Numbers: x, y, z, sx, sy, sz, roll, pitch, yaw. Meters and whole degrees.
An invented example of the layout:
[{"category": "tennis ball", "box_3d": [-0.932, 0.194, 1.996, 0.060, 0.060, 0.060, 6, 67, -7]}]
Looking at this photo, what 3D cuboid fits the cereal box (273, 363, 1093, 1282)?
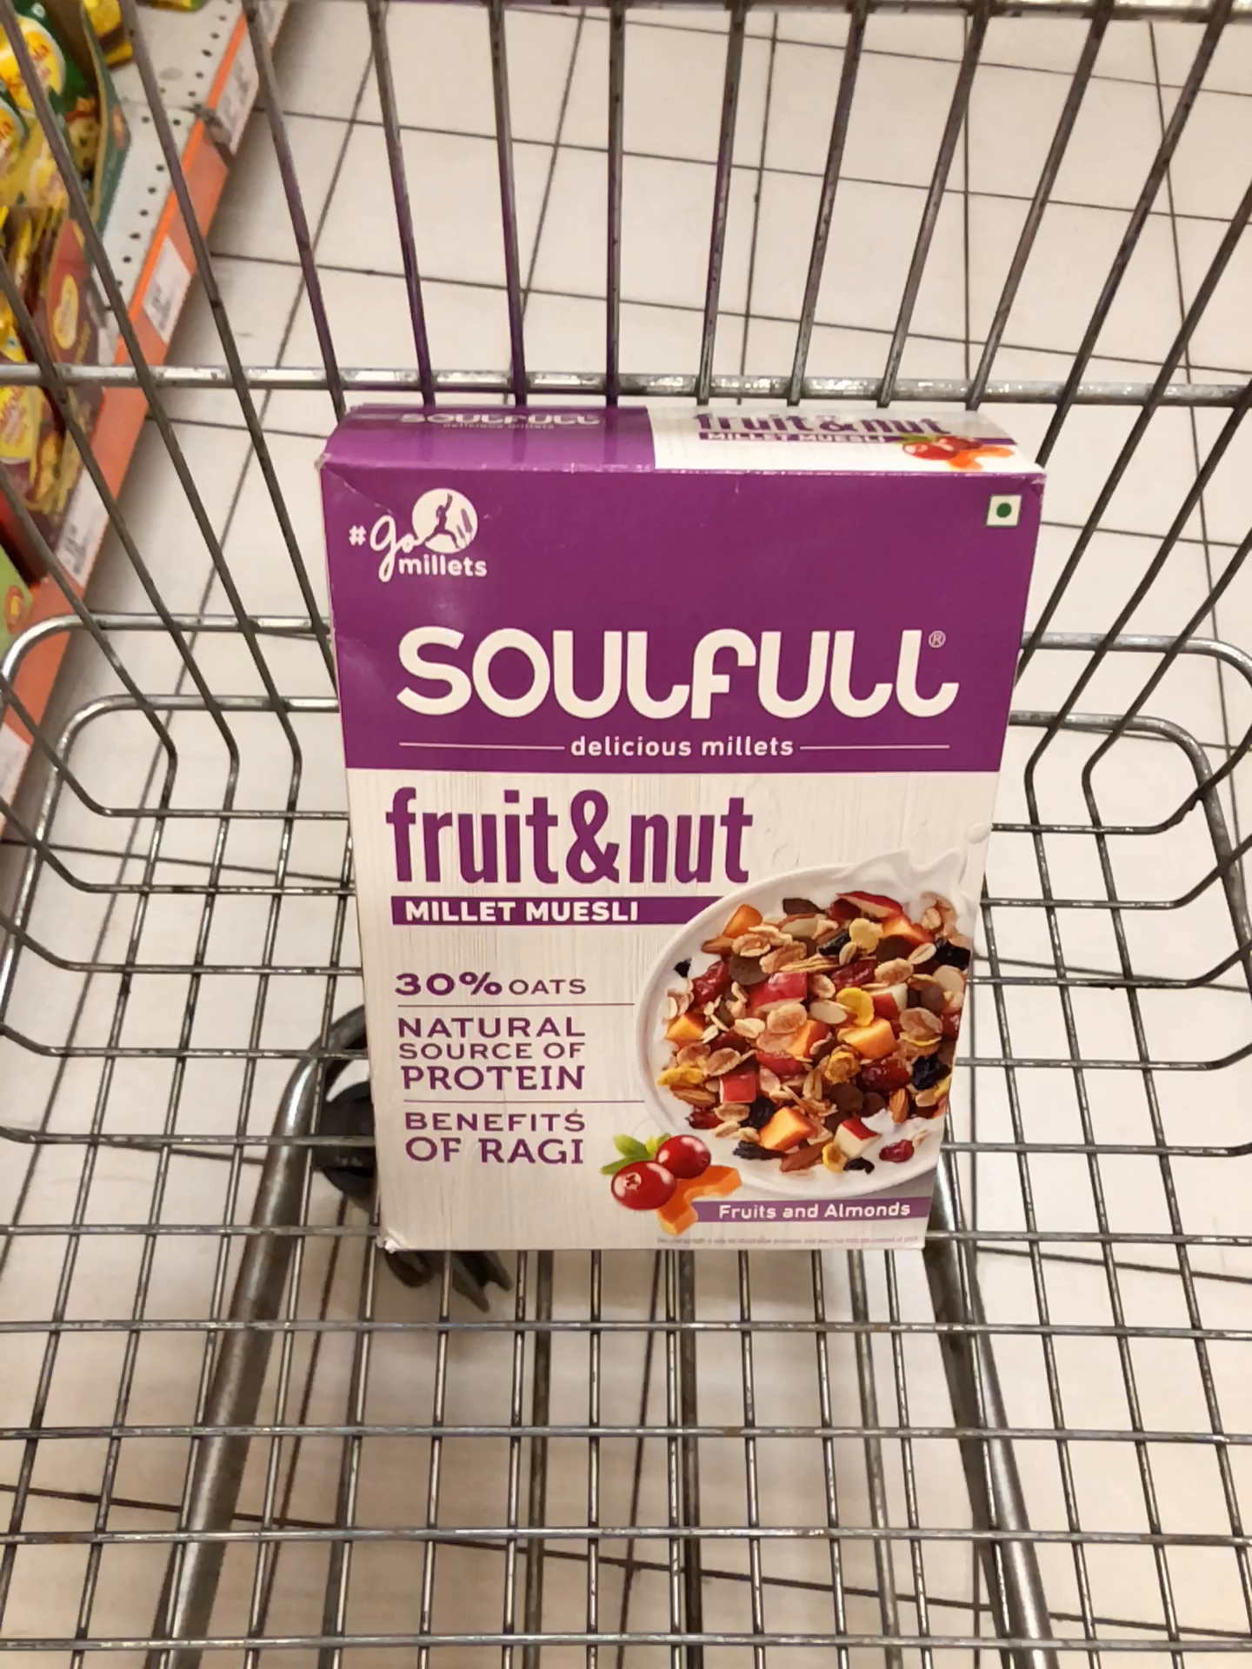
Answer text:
[{"category": "cereal box", "box_3d": [0.008, 0.005, 0.374, 0.170, 0.239, 0.070, 0, 28, -3]}]
